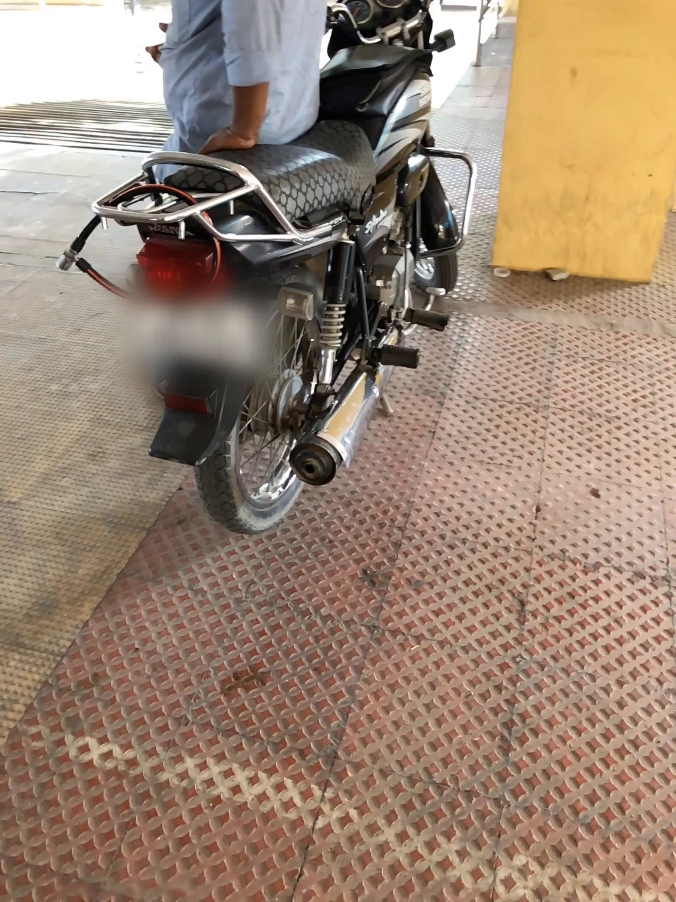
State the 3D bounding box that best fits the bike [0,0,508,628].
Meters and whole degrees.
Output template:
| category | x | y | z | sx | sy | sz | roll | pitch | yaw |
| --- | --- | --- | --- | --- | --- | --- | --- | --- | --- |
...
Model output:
| category | x | y | z | sx | sy | sz | roll | pitch | yaw |
| --- | --- | --- | --- | --- | --- | --- | --- | --- | --- |
| bike | -0.042 | -0.657 | 1.877 | 0.676 | 1.036 | 1.688 | 9 | 41 | 13 |
